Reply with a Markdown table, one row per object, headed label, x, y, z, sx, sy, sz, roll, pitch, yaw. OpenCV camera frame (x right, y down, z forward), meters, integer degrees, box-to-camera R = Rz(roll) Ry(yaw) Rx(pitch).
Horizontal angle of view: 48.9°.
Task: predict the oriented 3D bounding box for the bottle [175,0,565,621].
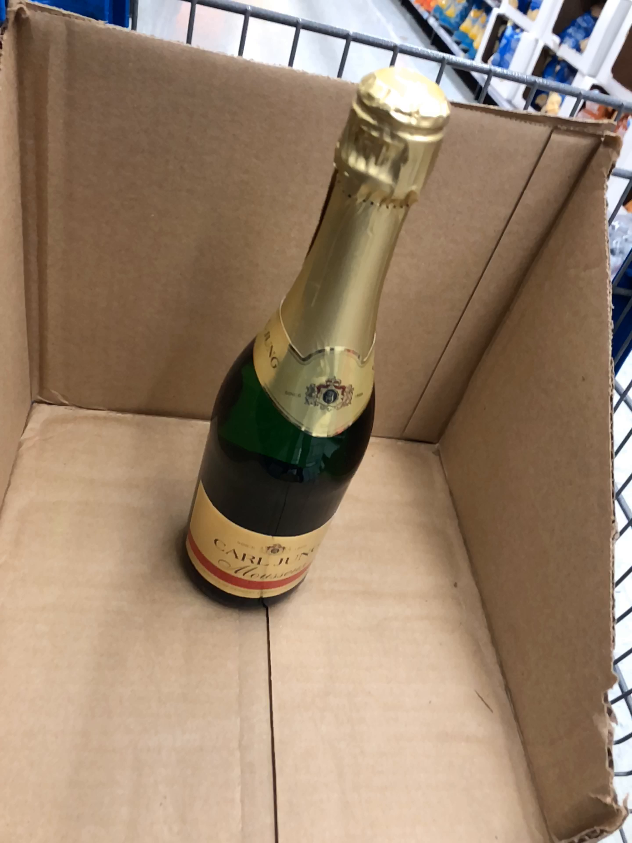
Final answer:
| label | x | y | z | sx | sy | sz | roll | pitch | yaw |
| --- | --- | --- | --- | --- | --- | --- | --- | --- | --- |
| bottle | -0.004 | -0.022 | 0.330 | 0.090 | 0.288 | 0.081 | 5 | 41 | -15 |
